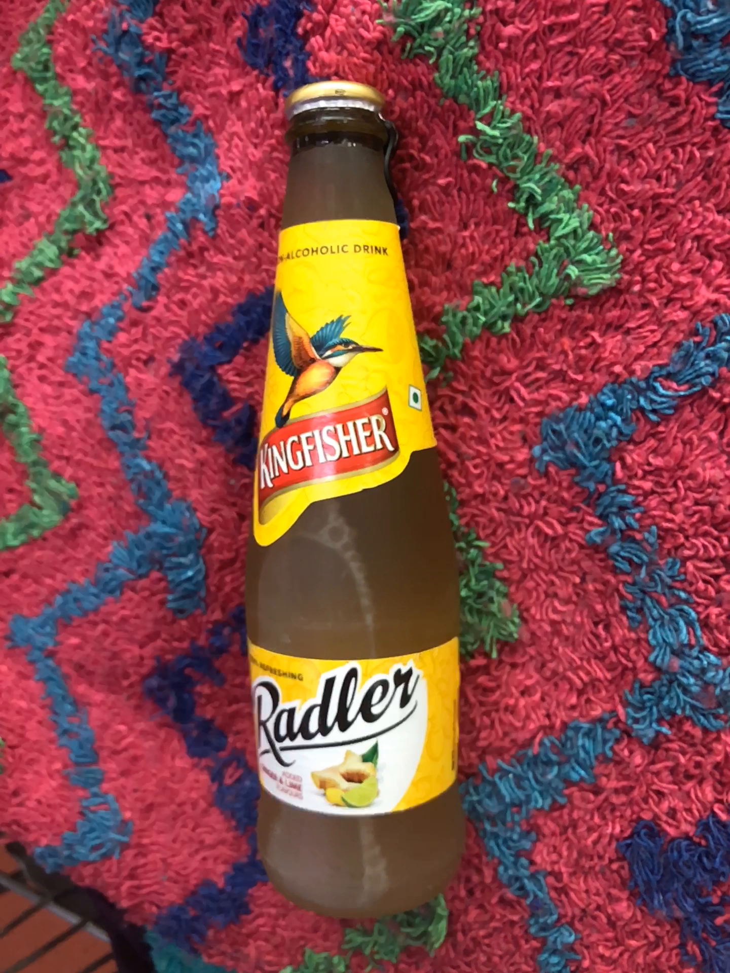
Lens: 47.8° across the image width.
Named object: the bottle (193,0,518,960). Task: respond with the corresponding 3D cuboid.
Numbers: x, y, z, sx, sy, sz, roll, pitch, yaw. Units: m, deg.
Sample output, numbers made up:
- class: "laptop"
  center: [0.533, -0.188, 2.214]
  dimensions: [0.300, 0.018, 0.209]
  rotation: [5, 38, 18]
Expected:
- class: "bottle"
  center: [0.002, -0.002, 0.215]
  dimensions: [0.060, 0.060, 0.210]
  rotation: [2, 96, 26]
